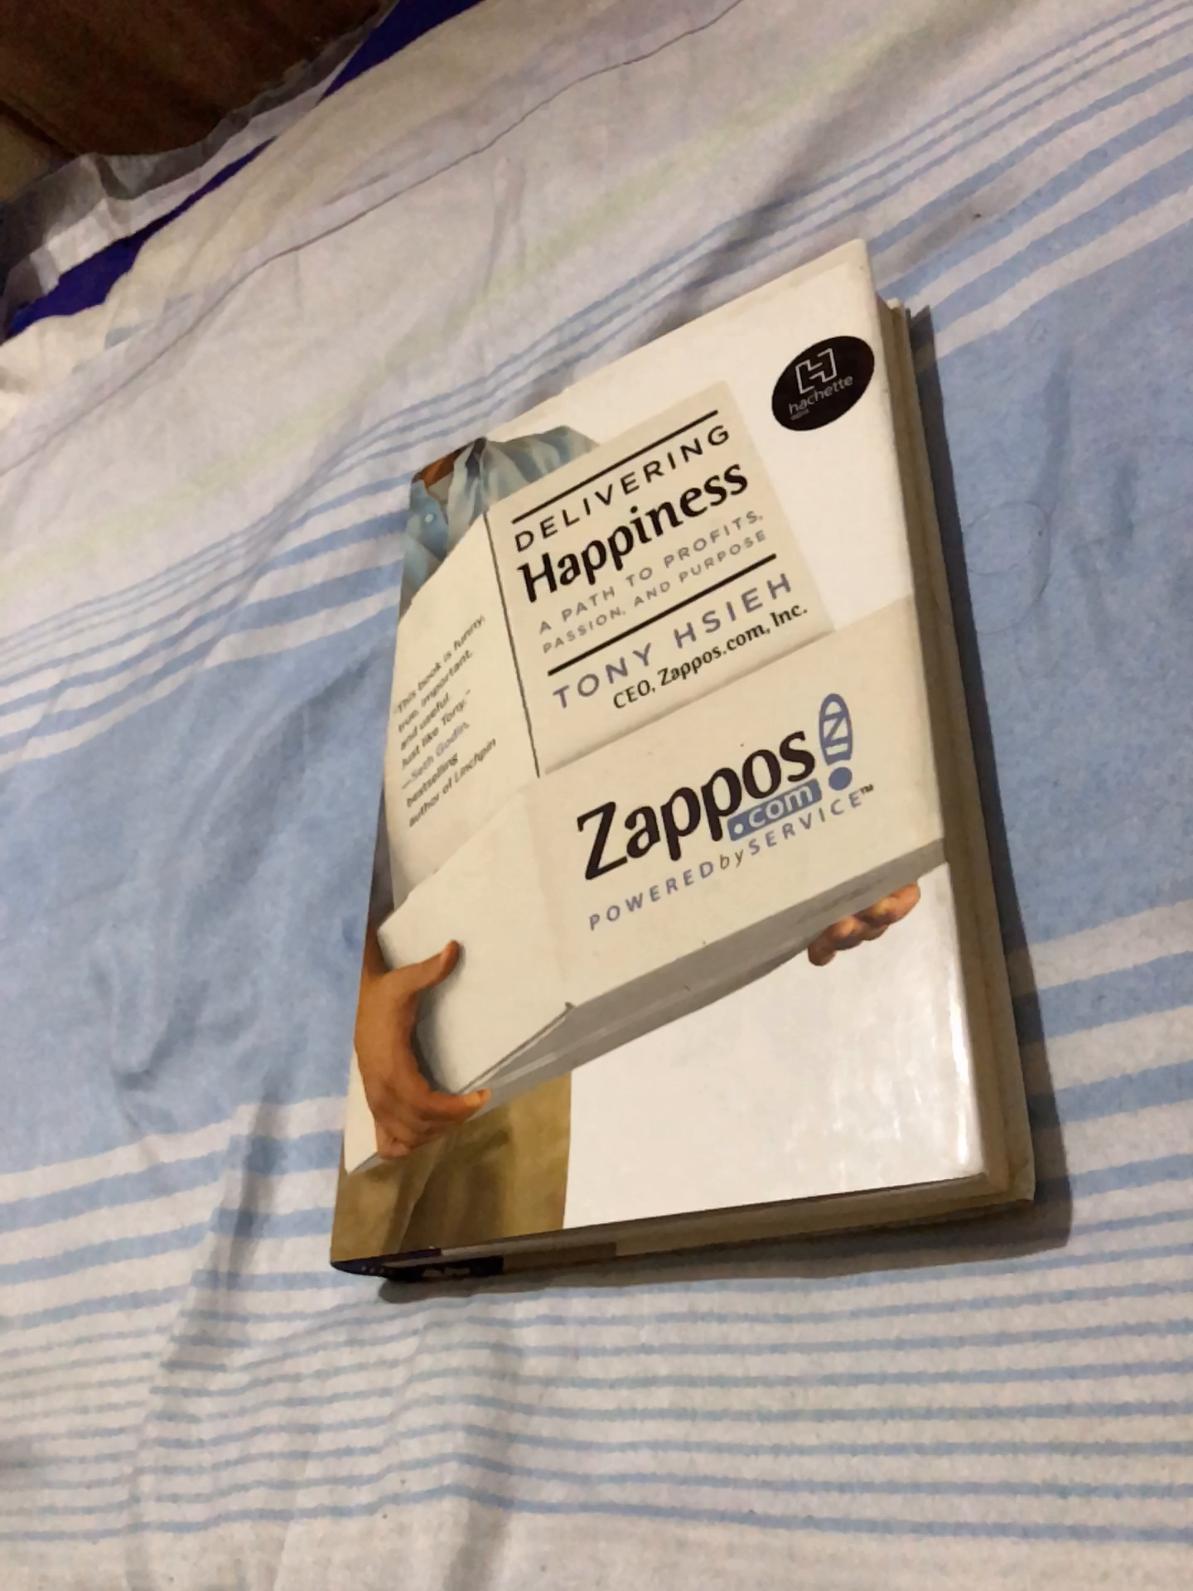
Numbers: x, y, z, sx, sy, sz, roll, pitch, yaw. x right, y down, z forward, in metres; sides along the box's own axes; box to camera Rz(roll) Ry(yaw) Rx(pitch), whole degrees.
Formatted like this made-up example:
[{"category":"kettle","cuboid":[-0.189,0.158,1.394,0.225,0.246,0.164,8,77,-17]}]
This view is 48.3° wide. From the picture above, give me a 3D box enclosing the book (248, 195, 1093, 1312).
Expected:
[{"category":"book","cuboid":[0.010,-0.009,0.328,0.171,0.050,0.240,-18,54,31]}]
